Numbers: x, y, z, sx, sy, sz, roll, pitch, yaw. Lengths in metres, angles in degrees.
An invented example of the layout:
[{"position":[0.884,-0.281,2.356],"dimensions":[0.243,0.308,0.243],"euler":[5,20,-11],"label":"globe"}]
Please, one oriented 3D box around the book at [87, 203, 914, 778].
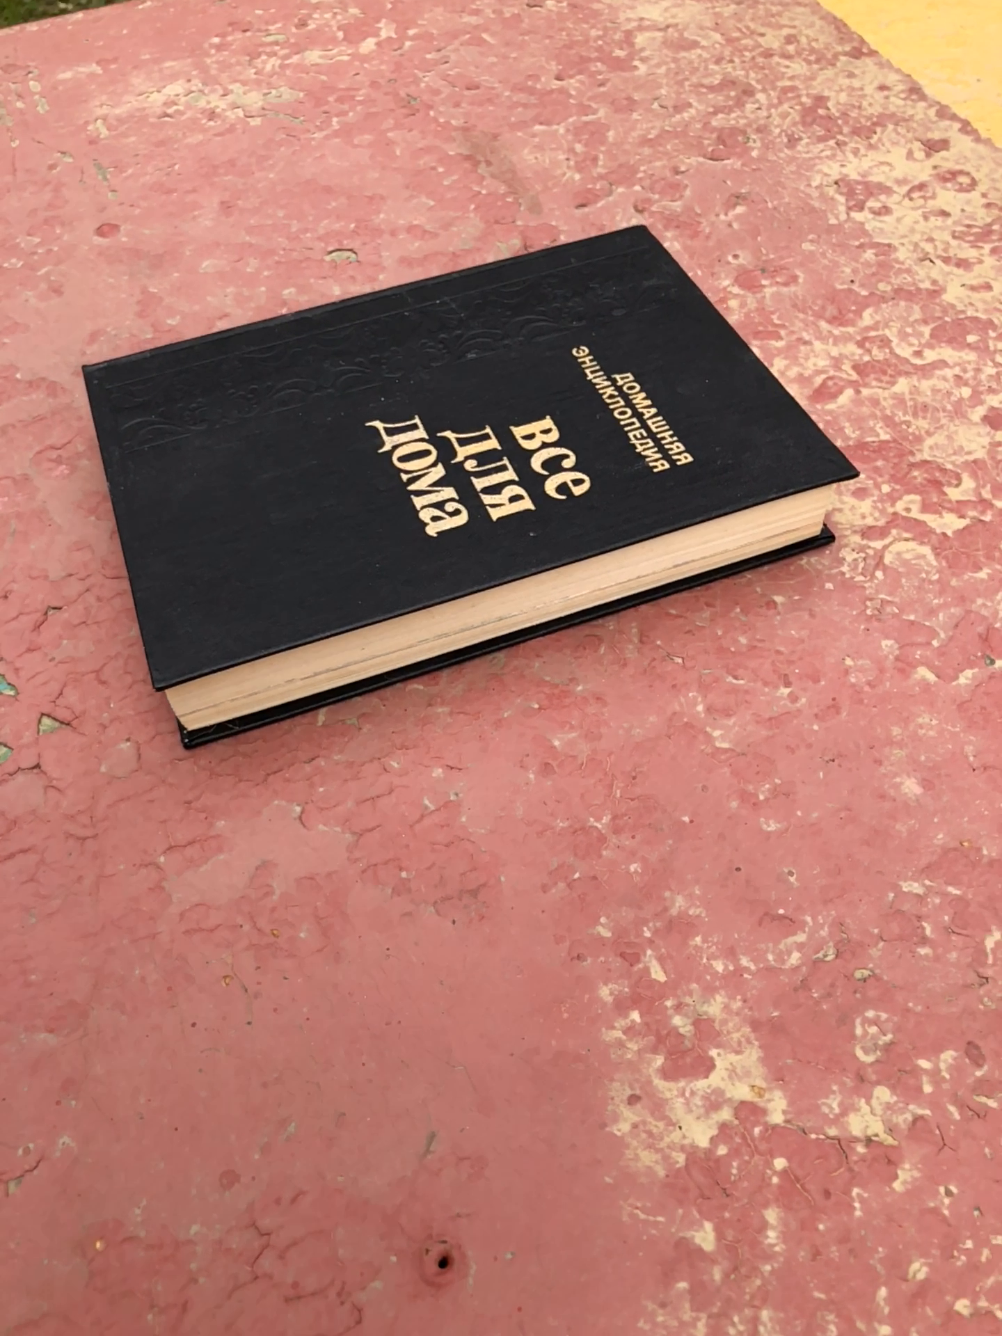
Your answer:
[{"position":[-0.008,-0.068,0.350],"dimensions":[0.210,0.040,0.150],"euler":[-17,54,-11],"label":"book"}]
